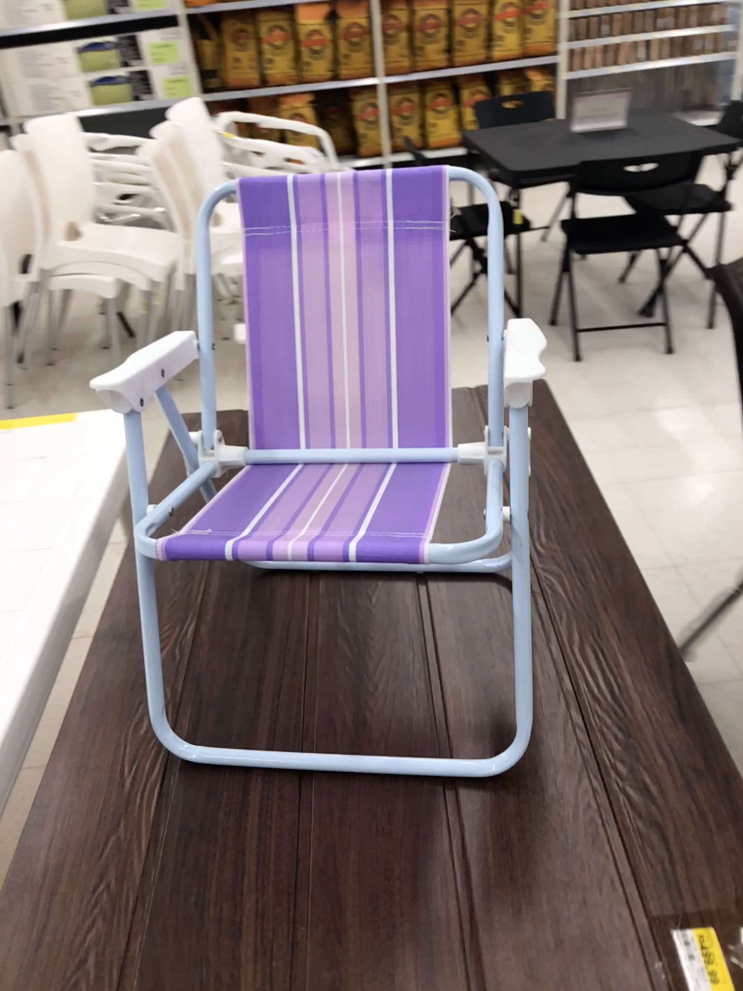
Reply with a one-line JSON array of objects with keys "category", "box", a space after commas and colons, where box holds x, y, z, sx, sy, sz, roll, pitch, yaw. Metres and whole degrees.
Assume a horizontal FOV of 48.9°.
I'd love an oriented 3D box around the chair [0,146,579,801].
[{"category": "chair", "box": [-0.049, -0.036, 0.757, 0.420, 0.437, 0.393, 0, 33, 9]}]
